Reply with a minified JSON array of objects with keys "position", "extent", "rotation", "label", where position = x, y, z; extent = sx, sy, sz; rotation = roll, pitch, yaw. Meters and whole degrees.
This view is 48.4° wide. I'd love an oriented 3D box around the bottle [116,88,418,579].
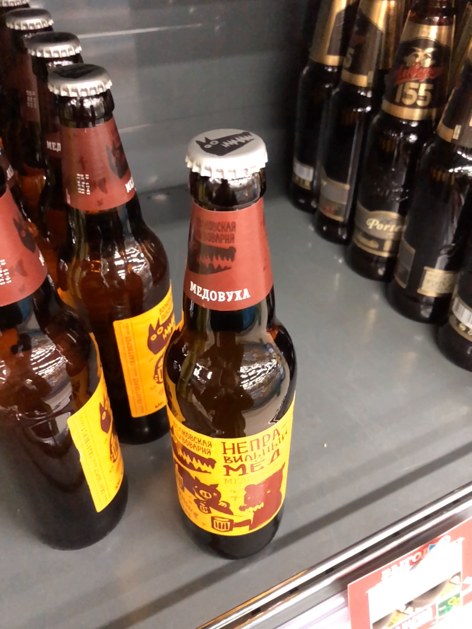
[{"position":[0.007,0.029,0.262],"extent":[0.080,0.243,0.070],"rotation":[-19,45,-21],"label":"bottle"}]
